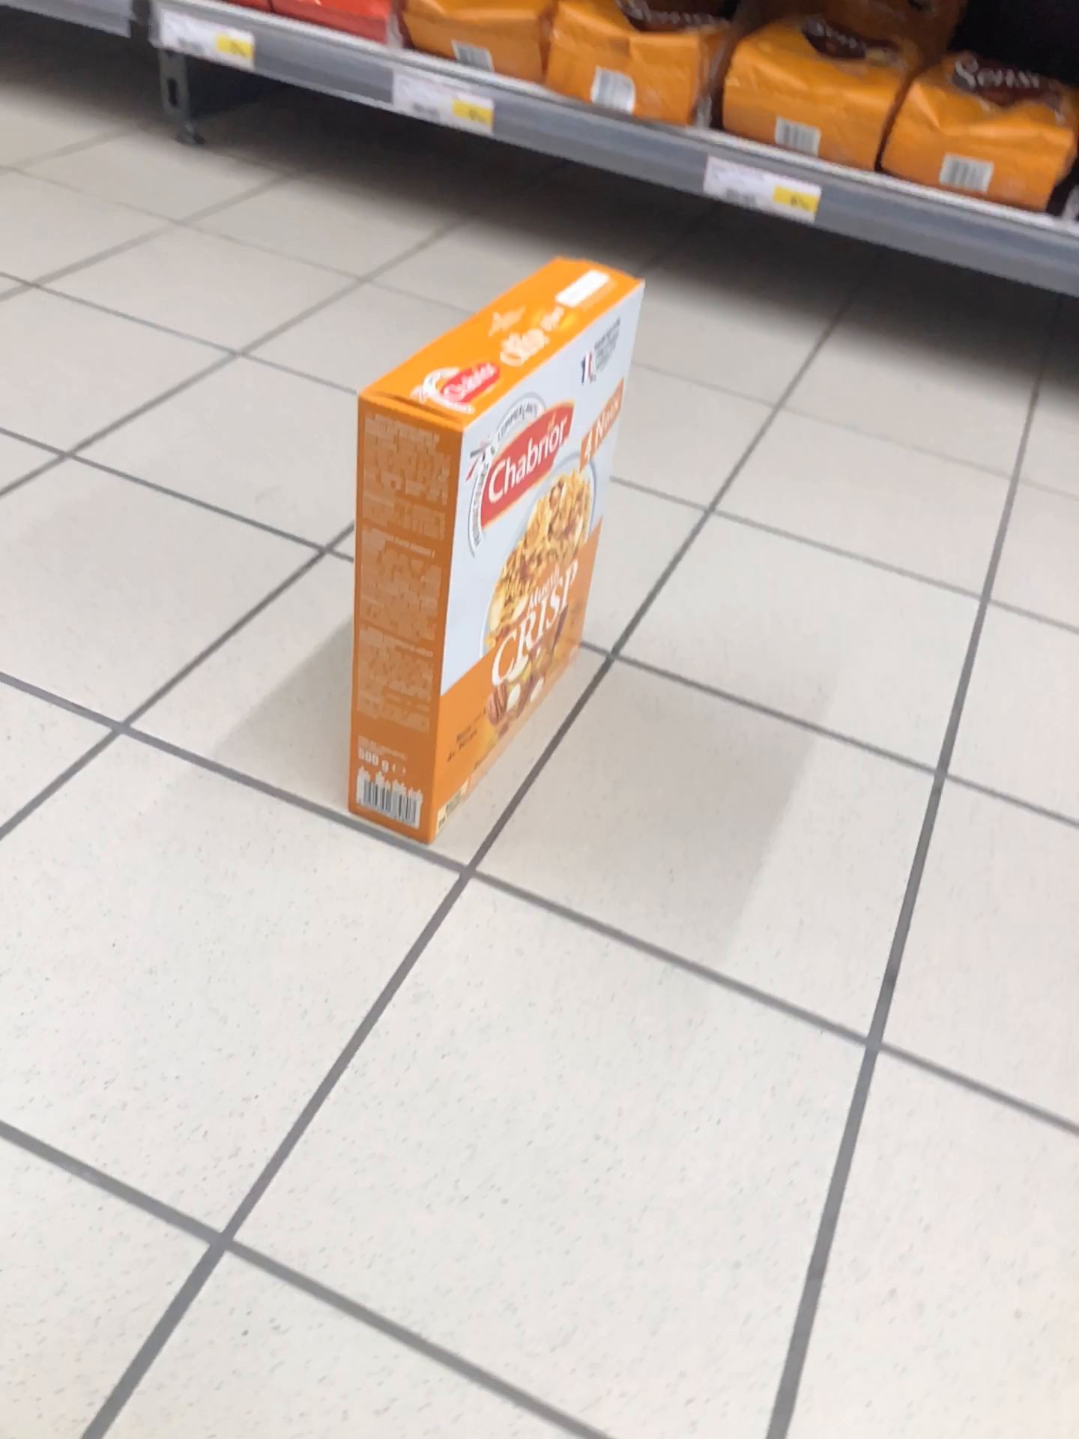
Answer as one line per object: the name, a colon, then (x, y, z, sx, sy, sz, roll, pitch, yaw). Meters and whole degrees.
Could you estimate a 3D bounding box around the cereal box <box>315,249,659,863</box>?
cereal box: (-0.026, -0.081, 0.569, 0.060, 0.219, 0.201, 22, 41, 14)
